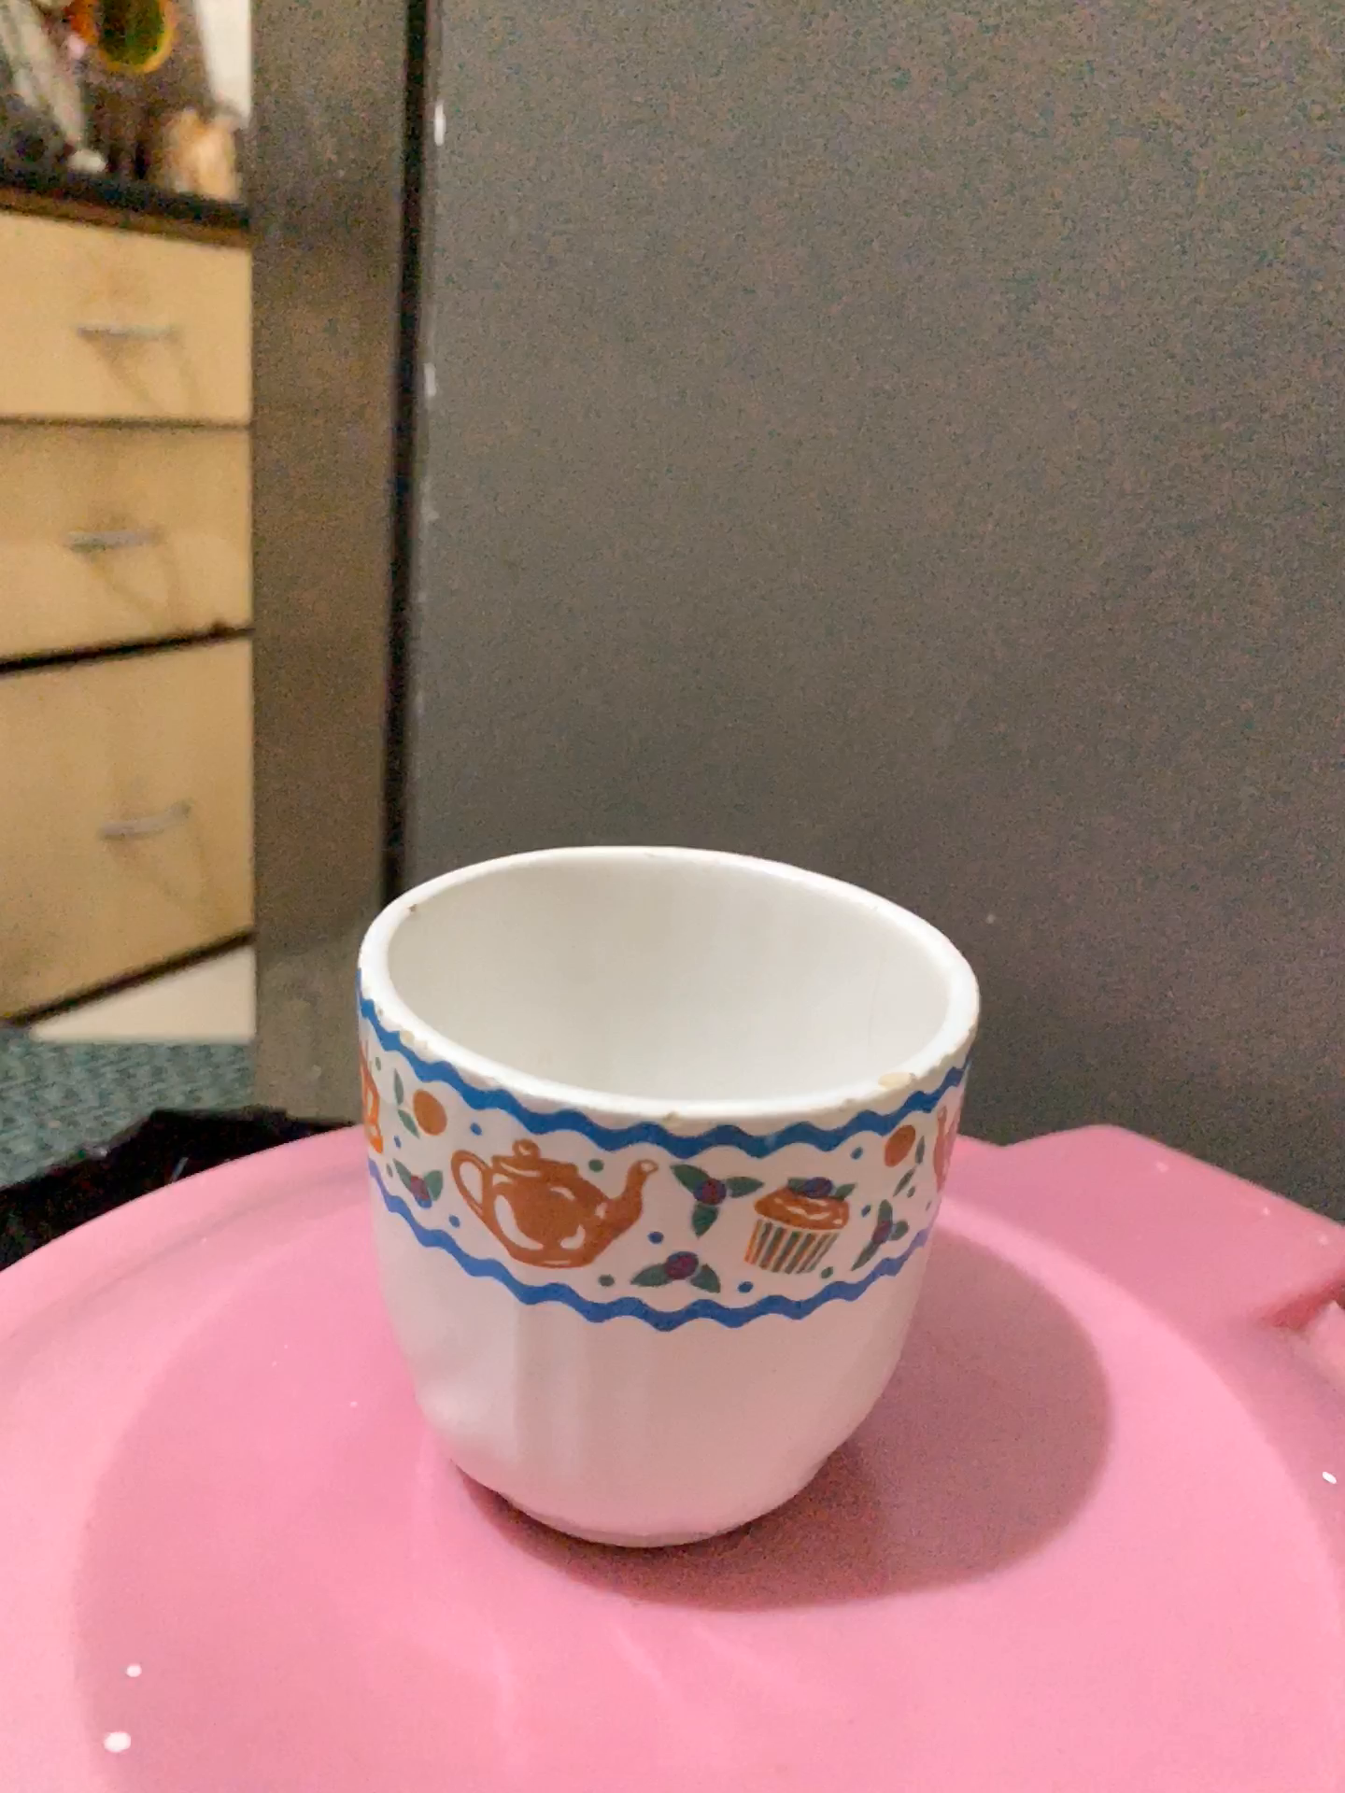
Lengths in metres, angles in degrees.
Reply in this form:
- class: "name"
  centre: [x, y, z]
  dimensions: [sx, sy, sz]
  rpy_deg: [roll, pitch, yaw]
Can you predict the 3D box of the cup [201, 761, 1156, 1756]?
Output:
- class: "cup"
  centre: [-0.001, 0.028, 0.163]
  dimensions: [0.076, 0.062, 0.072]
  rpy_deg: [5, 19, -2]
